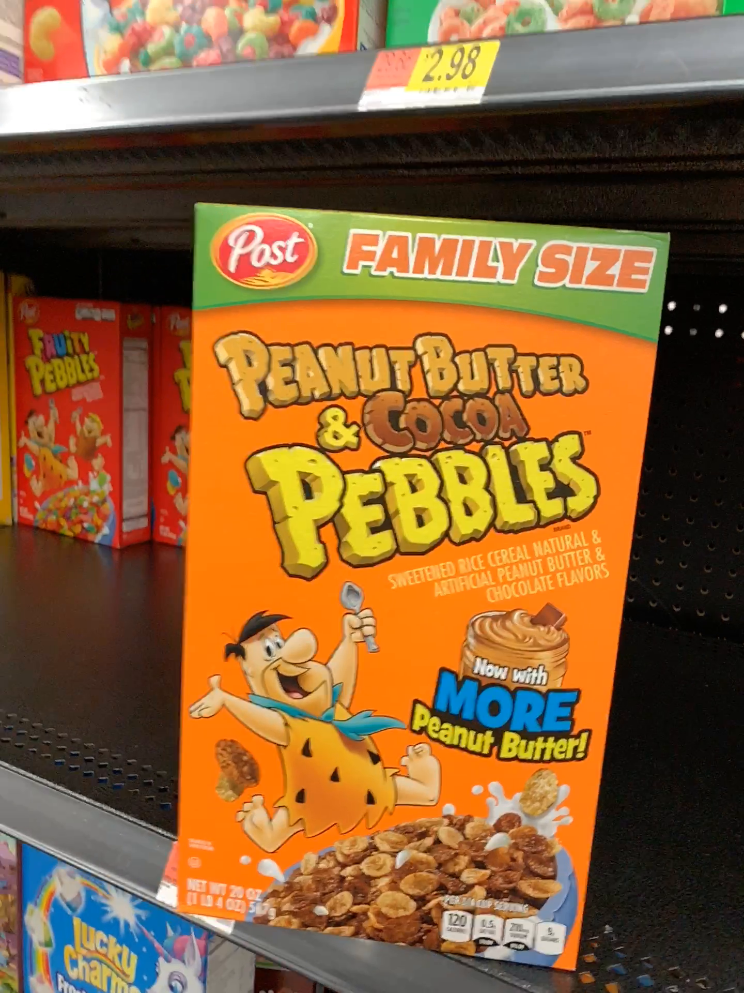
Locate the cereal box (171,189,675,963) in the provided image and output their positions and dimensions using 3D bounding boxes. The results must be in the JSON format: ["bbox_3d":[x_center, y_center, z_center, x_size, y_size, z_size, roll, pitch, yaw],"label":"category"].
[{"bbox_3d":[0.013,0.040,0.372,0.200,0.339,0.060,5,10,5],"label":"cereal box"}]
